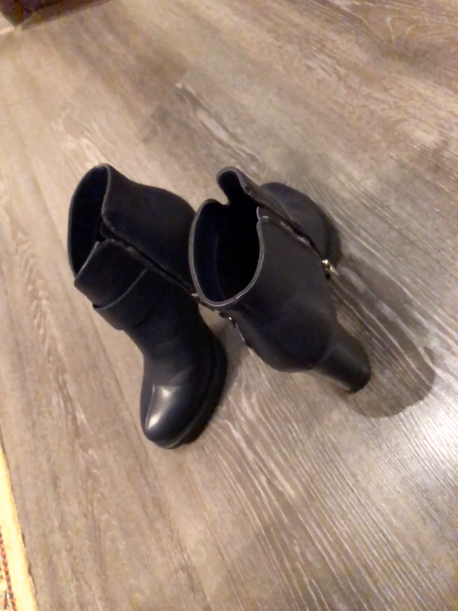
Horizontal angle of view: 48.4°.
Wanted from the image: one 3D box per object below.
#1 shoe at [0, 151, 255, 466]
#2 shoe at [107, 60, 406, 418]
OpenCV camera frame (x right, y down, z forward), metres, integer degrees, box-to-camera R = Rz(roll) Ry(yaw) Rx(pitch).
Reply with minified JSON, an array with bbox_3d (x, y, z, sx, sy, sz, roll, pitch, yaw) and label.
[{"bbox_3d":[-0.090,0.014,0.451,0.090,0.189,0.210,3,72,40],"label":"shoe"},{"bbox_3d":[0.020,-0.043,0.402,0.090,0.189,0.211,-34,52,22],"label":"shoe"}]
